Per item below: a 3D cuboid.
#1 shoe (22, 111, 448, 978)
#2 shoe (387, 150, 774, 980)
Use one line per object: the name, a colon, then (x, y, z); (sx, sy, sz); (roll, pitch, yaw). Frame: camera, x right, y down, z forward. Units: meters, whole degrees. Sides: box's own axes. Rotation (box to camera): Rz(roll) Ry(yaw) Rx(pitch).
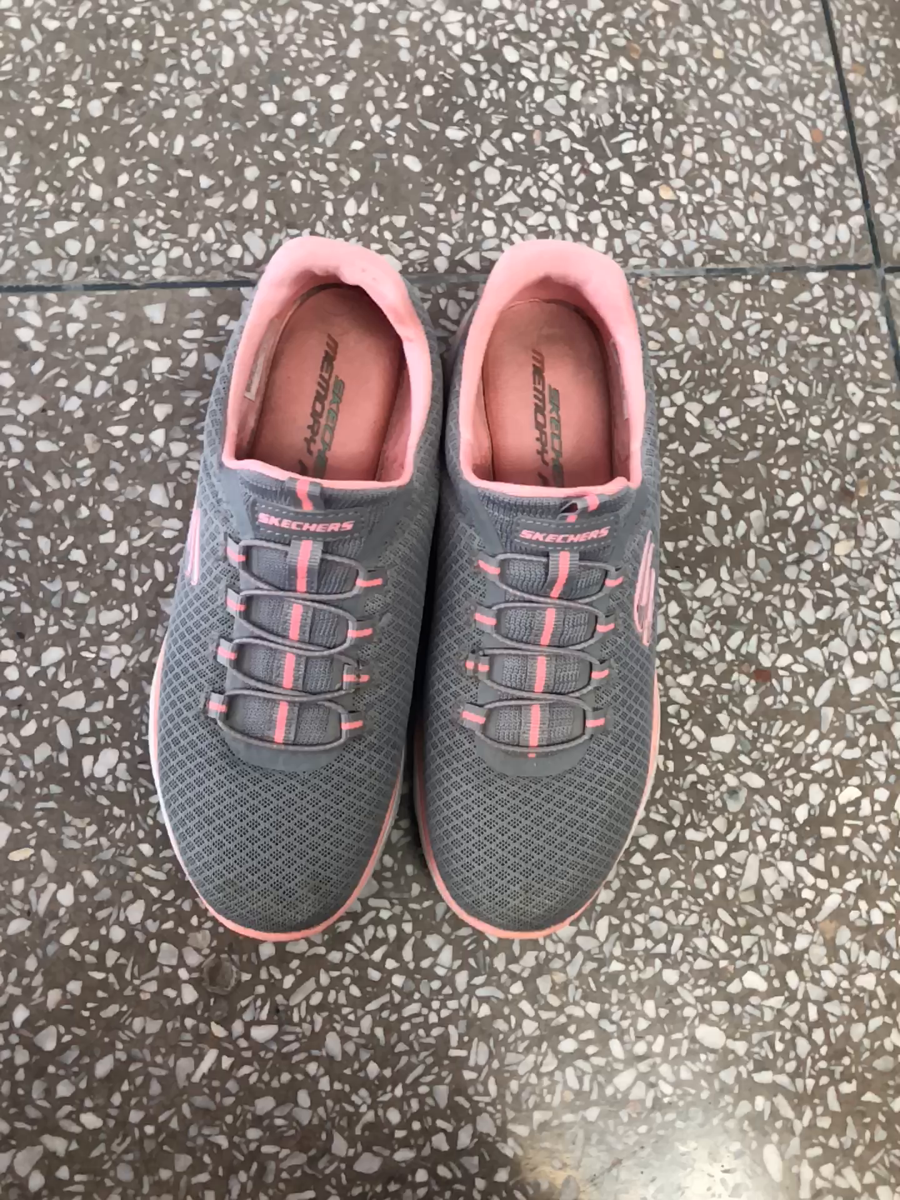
shoe: (-0.061, -0.016, 0.335); (0.097, 0.095, 0.252); (4, 77, -5)
shoe: (0.040, -0.008, 0.350); (0.102, 0.108, 0.246); (4, 77, -5)
